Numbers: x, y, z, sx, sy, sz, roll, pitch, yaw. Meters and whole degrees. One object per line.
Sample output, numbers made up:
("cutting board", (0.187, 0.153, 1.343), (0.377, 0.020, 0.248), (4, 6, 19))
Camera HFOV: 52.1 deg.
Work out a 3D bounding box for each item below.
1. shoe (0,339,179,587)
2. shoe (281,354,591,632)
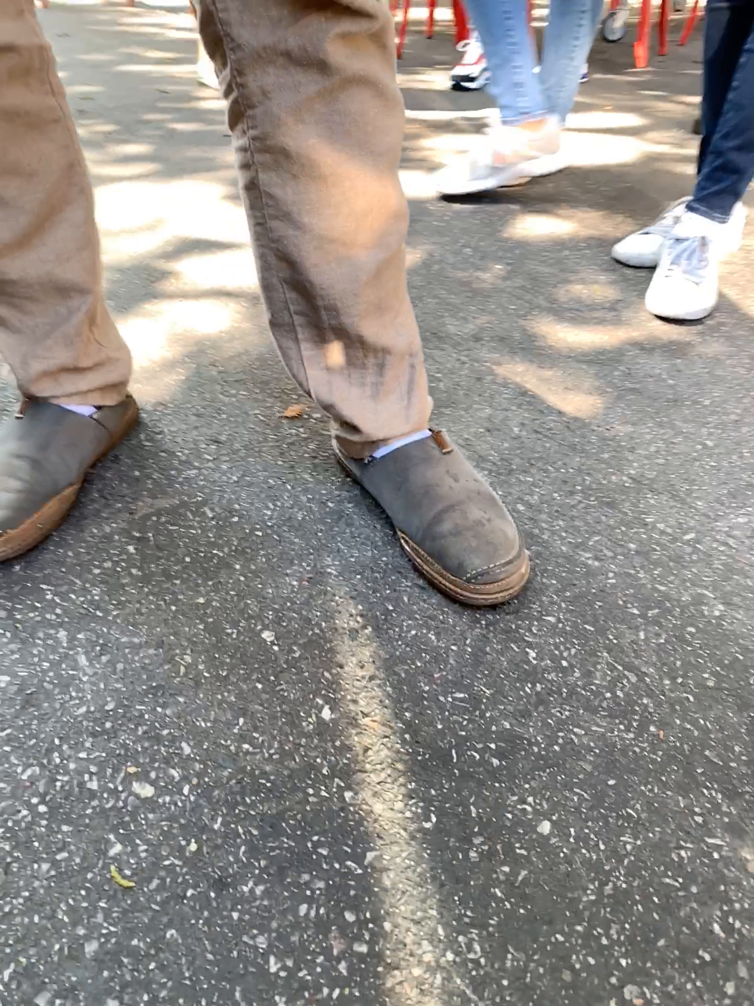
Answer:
("shoe", (-0.310, -0.057, 0.755), (0.120, 0.060, 0.322), (5, 38, 6))
("shoe", (0.038, -0.029, 0.741), (0.120, 0.080, 0.322), (-21, 43, -26))
